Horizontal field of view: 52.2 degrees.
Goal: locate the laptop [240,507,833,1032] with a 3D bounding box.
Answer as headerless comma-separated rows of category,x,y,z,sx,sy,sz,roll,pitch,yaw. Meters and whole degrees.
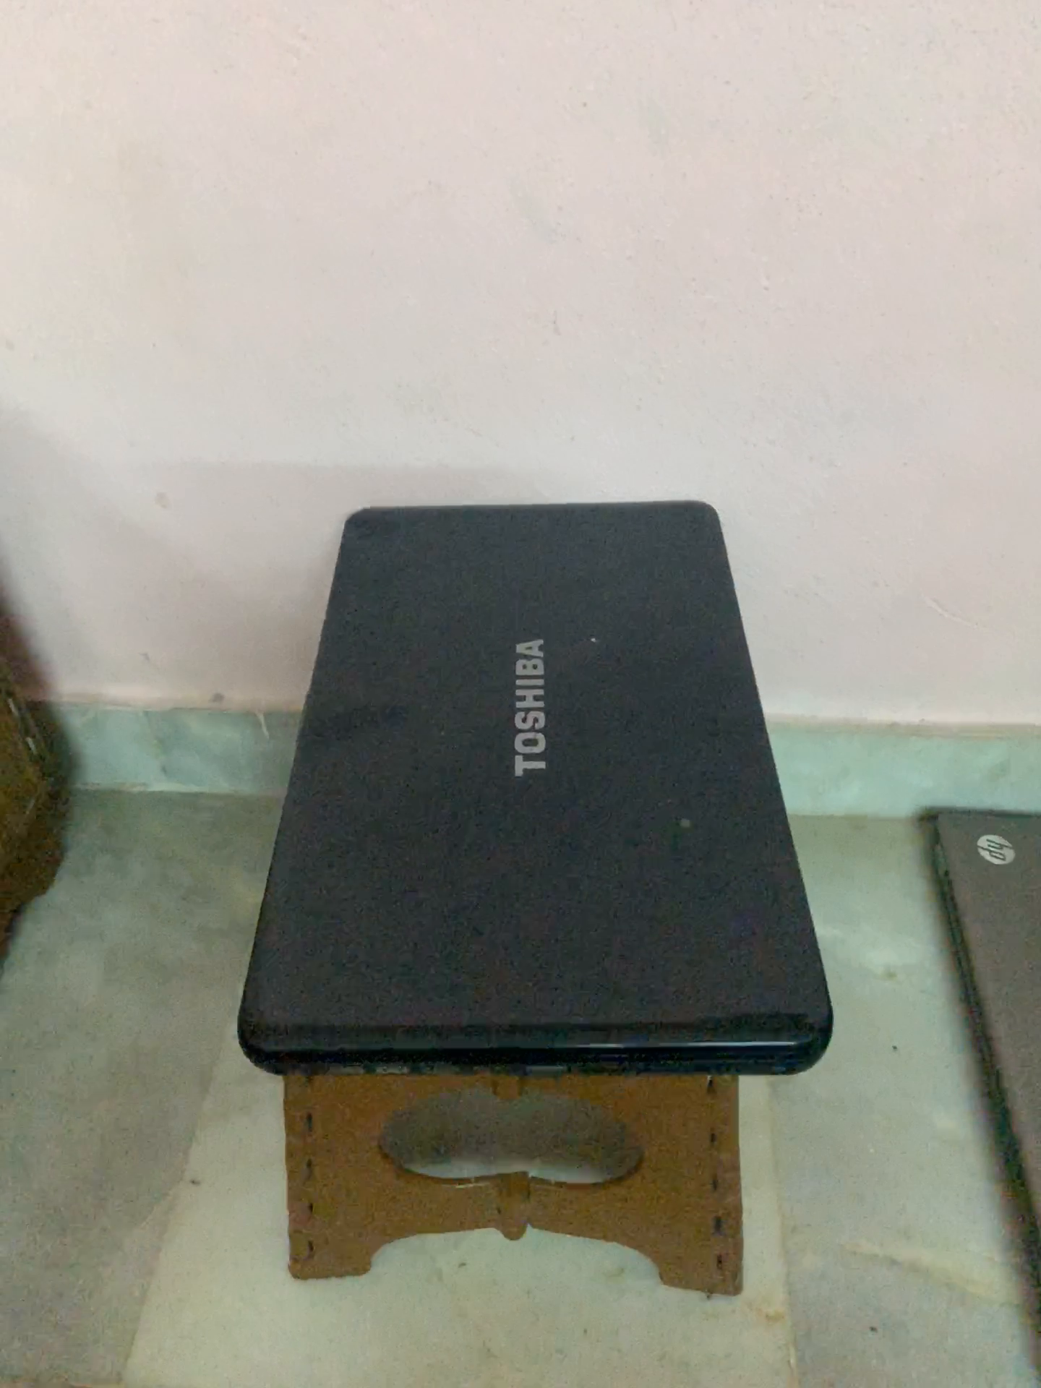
laptop,0.006,0.007,0.557,0.236,0.001,0.370,-1,43,1
